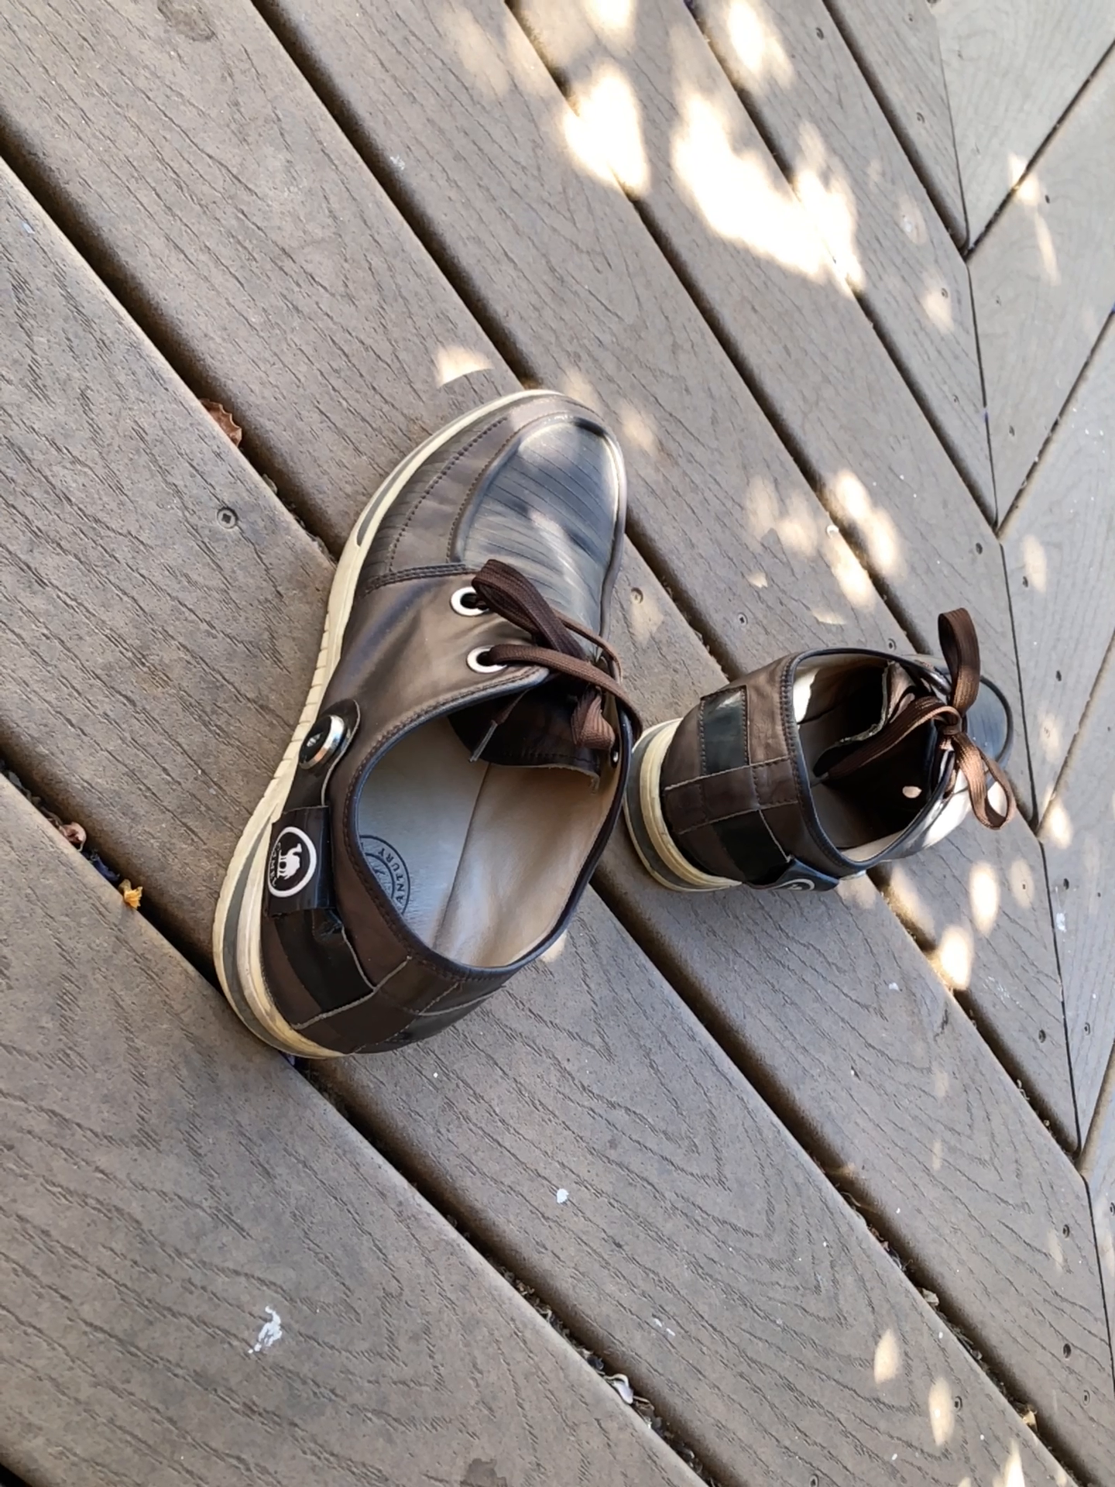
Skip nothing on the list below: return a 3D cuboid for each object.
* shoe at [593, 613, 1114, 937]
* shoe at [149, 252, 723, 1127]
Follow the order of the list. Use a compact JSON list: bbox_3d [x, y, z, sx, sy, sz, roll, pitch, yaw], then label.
[{"bbox_3d":[0.164,0.007,0.591,0.287,0.099,0.110,-7,84,-42],"label":"shoe"},{"bbox_3d":[-0.029,-0.023,0.442,0.111,0.069,0.286,32,60,-32],"label":"shoe"}]
